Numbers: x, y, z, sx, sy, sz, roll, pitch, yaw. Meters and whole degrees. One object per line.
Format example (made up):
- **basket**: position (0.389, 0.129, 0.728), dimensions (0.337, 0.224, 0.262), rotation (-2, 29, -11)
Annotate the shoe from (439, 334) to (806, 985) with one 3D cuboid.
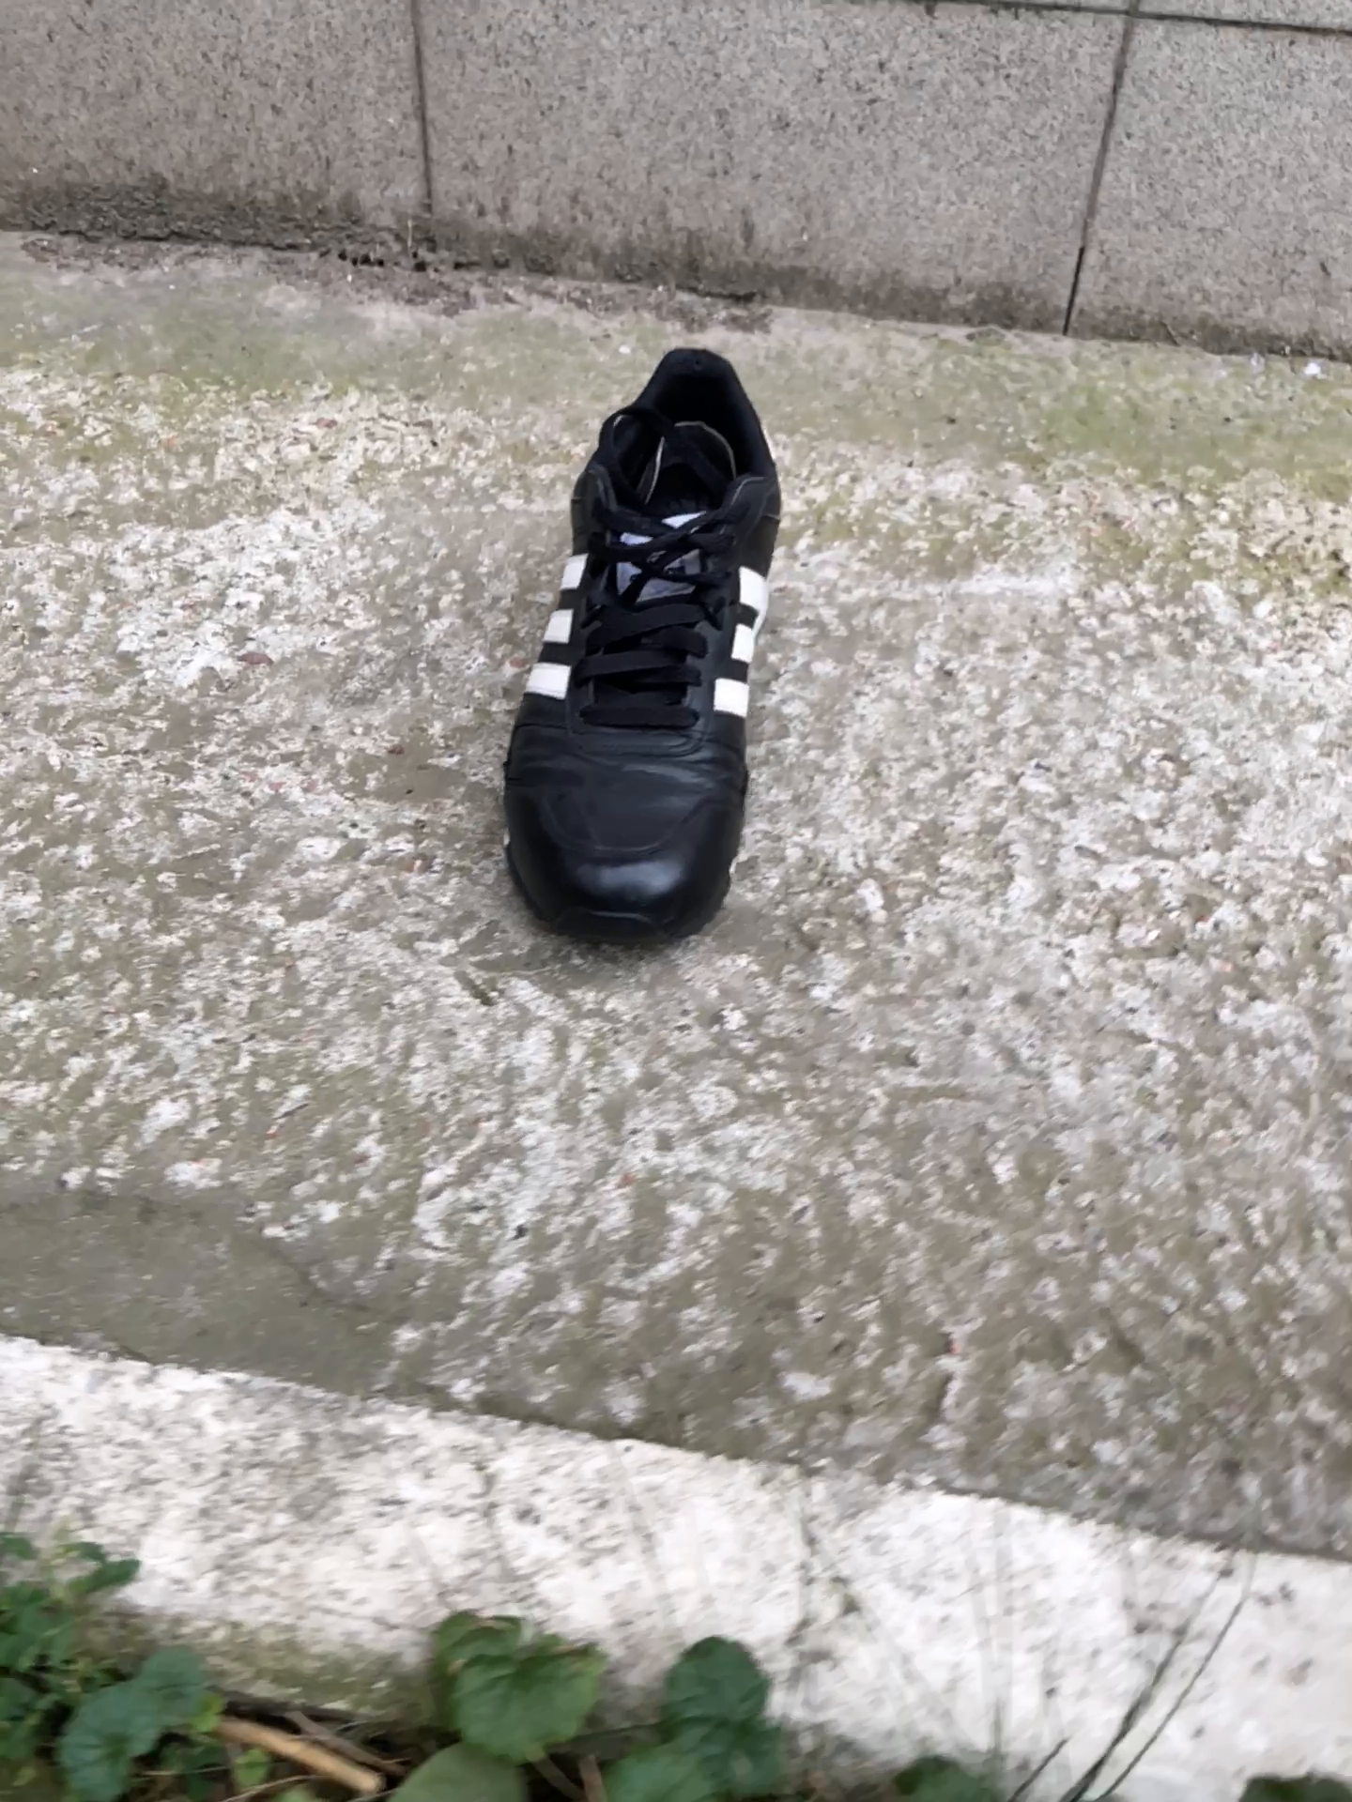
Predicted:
- **shoe**: position (-0.010, -0.113, 0.608), dimensions (0.100, 0.119, 0.282), rotation (6, 43, 4)
